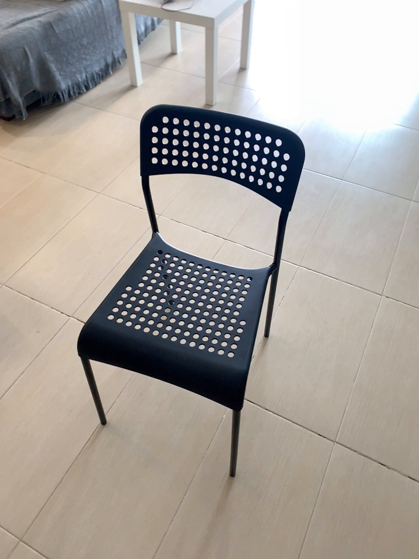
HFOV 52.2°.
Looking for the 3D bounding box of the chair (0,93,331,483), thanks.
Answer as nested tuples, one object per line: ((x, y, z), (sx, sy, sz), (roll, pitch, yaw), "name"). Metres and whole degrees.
((-0.049, 0.052, 0.994), (0.420, 0.687, 0.492), (16, 52, 12), "chair")
